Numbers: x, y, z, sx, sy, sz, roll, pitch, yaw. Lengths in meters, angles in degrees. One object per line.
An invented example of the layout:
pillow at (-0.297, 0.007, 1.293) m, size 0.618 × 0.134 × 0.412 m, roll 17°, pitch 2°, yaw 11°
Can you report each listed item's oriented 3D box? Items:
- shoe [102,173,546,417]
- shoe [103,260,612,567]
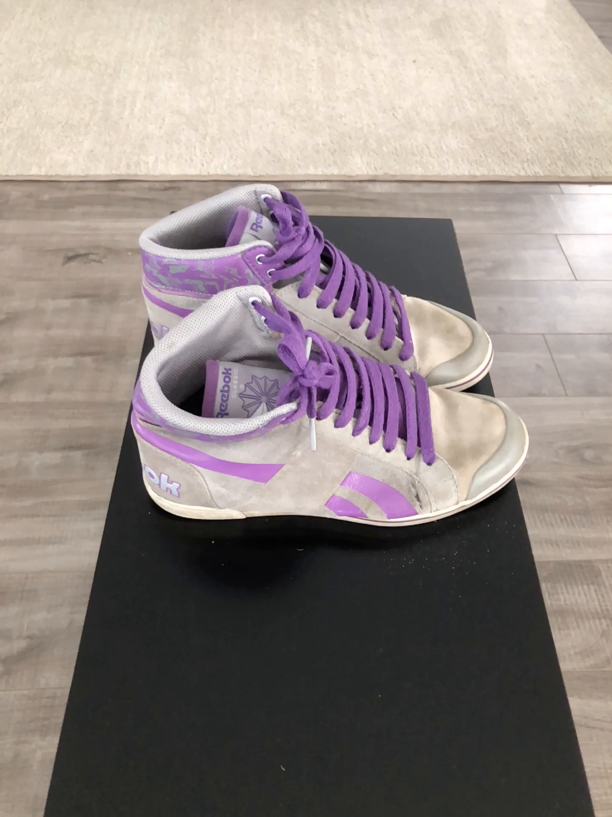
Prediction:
shoe at (0.010, -0.071, 0.435) m, size 0.240 × 0.110 × 0.090 m, roll 3°, pitch 50°, yaw 1°
shoe at (0.025, 0.003, 0.376) m, size 0.240 × 0.120 × 0.100 m, roll -4°, pitch 50°, yaw -6°
